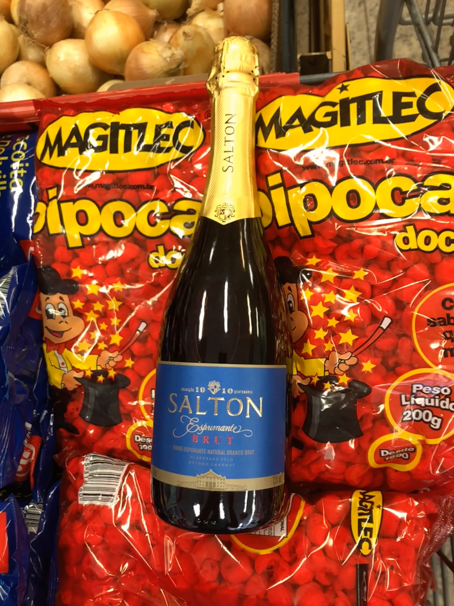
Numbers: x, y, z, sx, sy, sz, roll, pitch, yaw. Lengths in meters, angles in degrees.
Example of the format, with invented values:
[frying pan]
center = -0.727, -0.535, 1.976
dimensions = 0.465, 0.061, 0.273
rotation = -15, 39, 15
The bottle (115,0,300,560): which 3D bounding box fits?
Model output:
[bottle]
center = -0.005, -0.021, 0.315
dimensions = 0.090, 0.080, 0.310
rotation = 2, 88, 10
